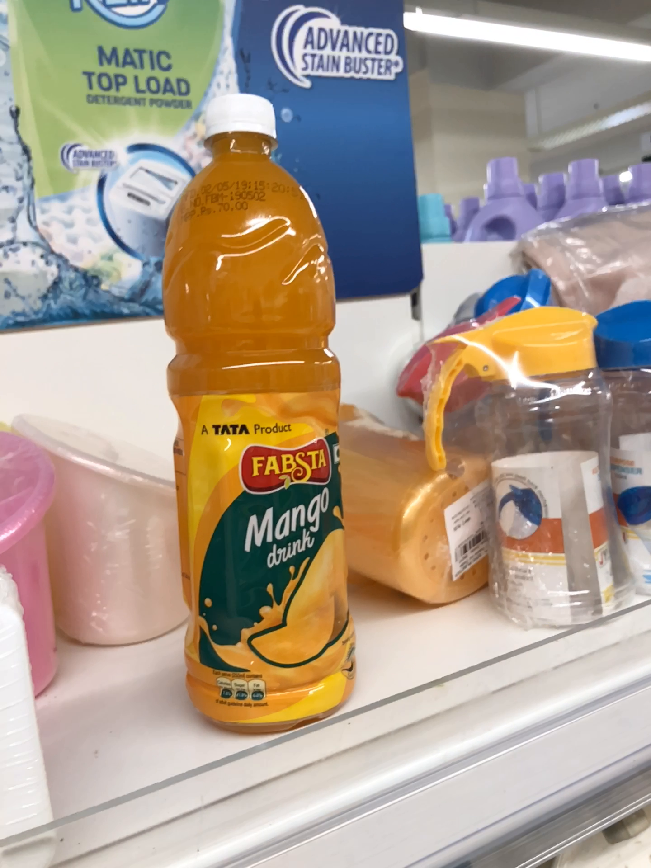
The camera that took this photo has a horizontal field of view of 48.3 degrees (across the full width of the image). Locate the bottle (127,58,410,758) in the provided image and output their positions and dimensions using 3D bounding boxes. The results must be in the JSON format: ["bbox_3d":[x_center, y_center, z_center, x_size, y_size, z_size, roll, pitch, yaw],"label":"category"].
[{"bbox_3d":[-0.026,-0.011,0.326,0.090,0.260,0.080,-5,6,-31],"label":"bottle"}]
